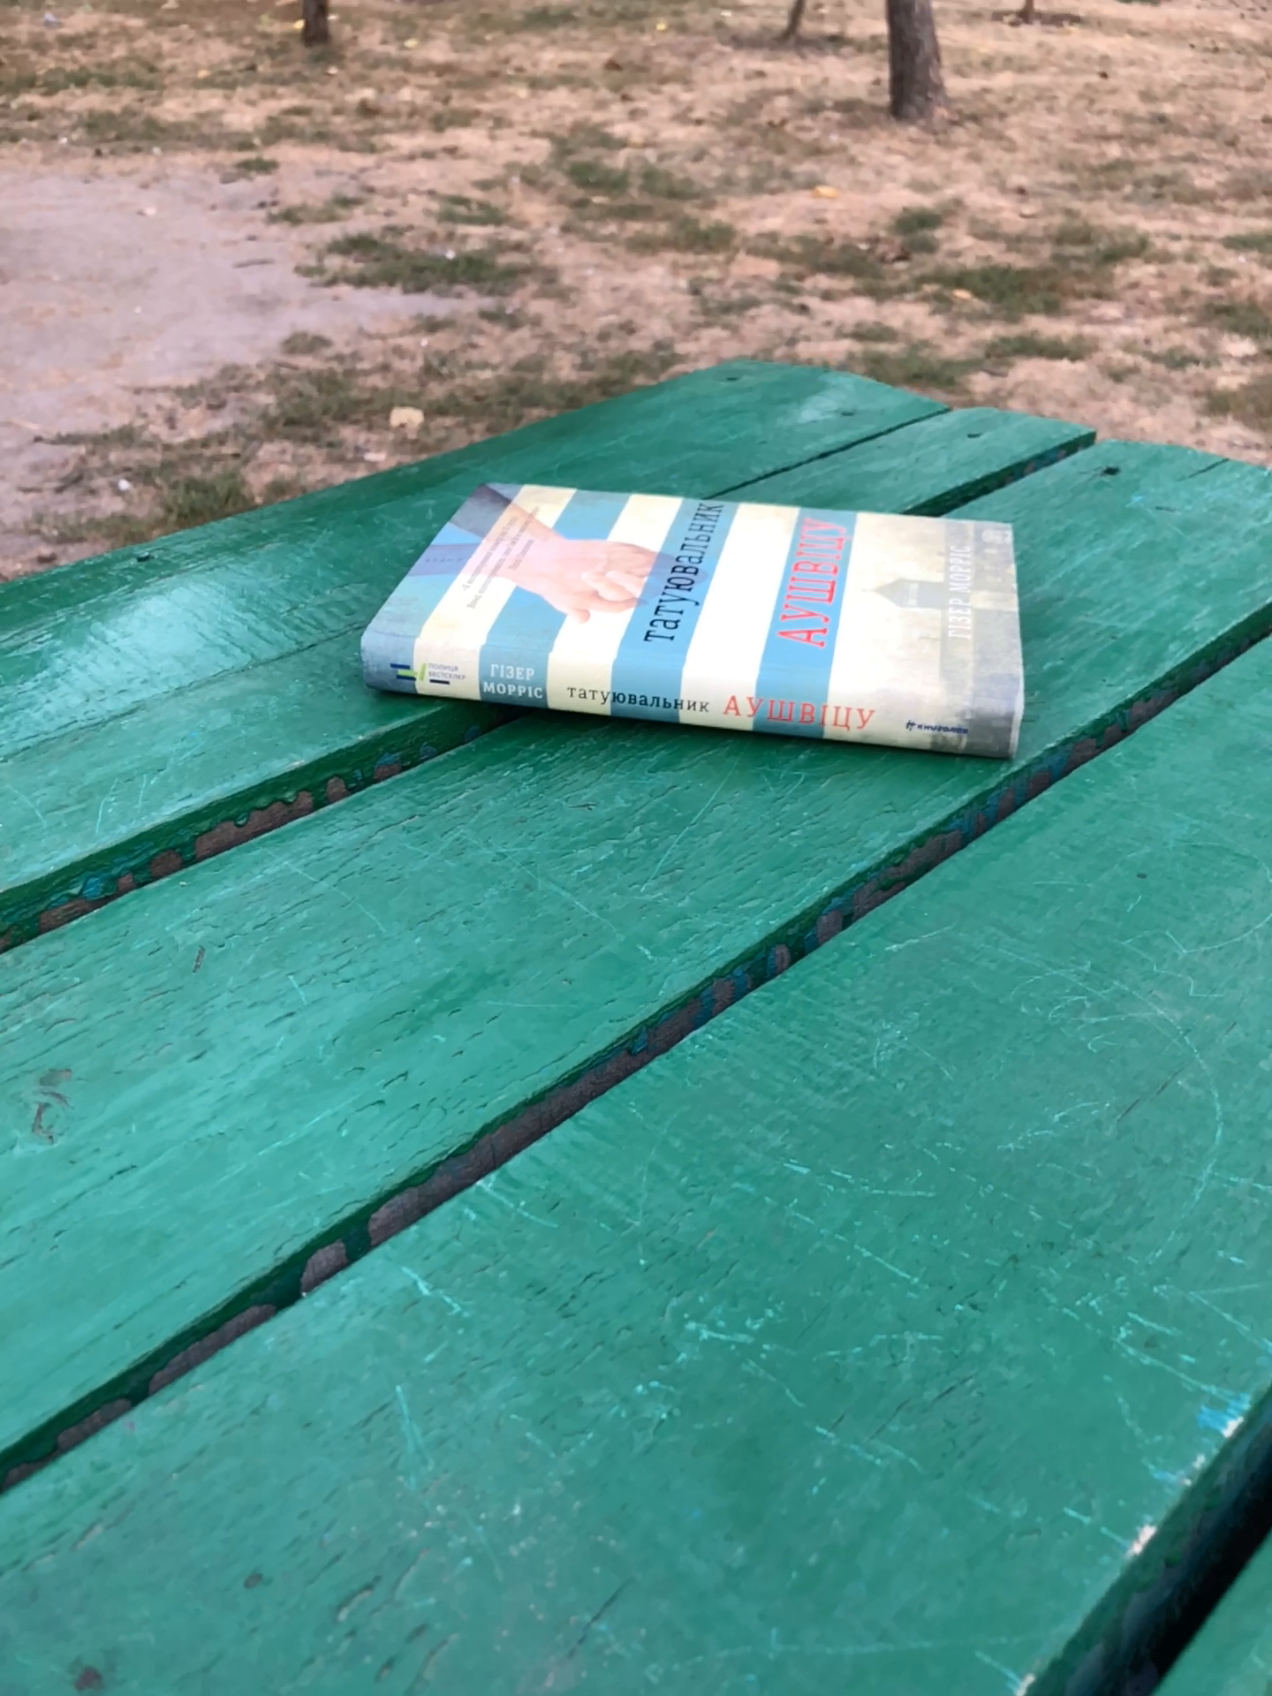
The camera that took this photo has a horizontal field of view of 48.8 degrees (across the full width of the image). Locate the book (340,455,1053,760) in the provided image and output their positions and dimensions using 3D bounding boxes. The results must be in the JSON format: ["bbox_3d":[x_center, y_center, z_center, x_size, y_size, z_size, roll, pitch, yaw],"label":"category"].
[{"bbox_3d":[0.027,-0.092,0.493,0.218,0.025,0.152,7,35,7],"label":"book"}]
